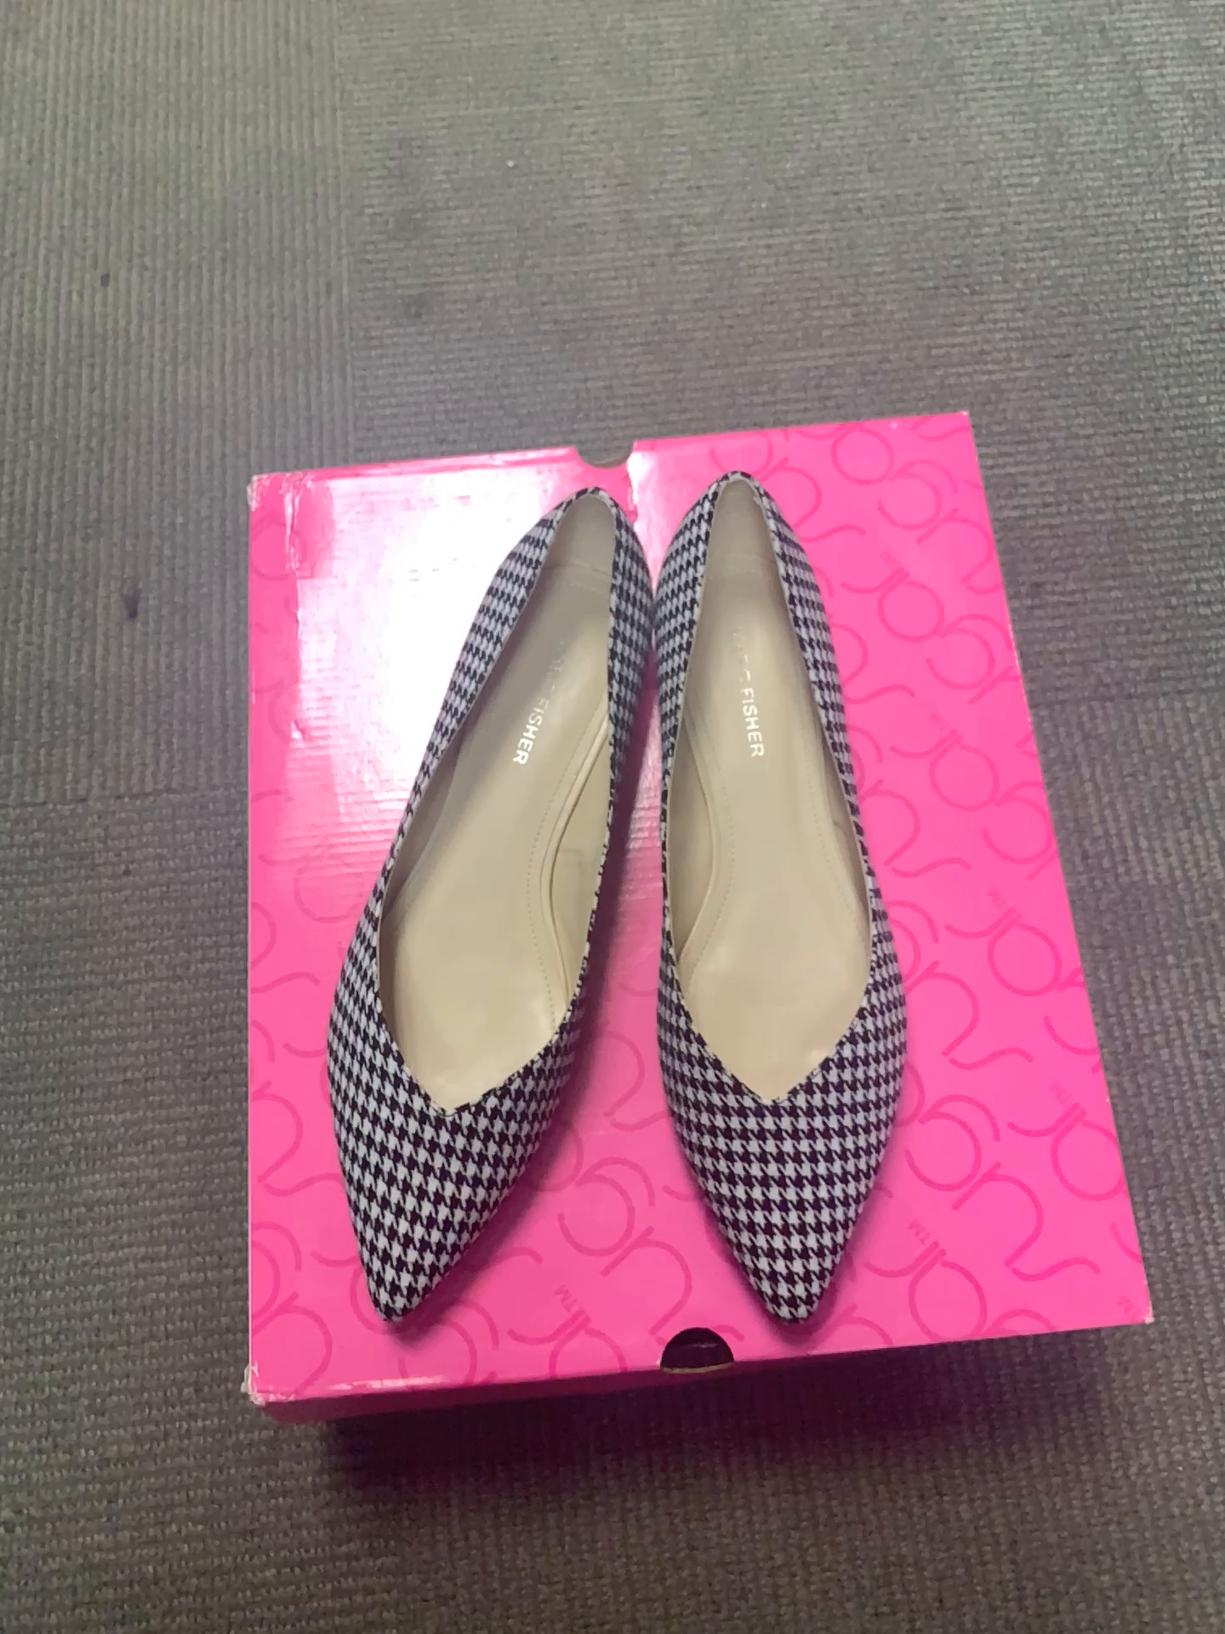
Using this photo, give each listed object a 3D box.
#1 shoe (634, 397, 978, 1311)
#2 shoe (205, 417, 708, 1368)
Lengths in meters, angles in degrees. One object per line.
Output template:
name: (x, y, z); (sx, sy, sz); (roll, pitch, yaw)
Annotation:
shoe: (0.053, 0.005, 0.404); (0.080, 0.060, 0.280); (-2, 73, 0)
shoe: (-0.037, 0.015, 0.391); (0.080, 0.060, 0.270); (11, 73, 5)
